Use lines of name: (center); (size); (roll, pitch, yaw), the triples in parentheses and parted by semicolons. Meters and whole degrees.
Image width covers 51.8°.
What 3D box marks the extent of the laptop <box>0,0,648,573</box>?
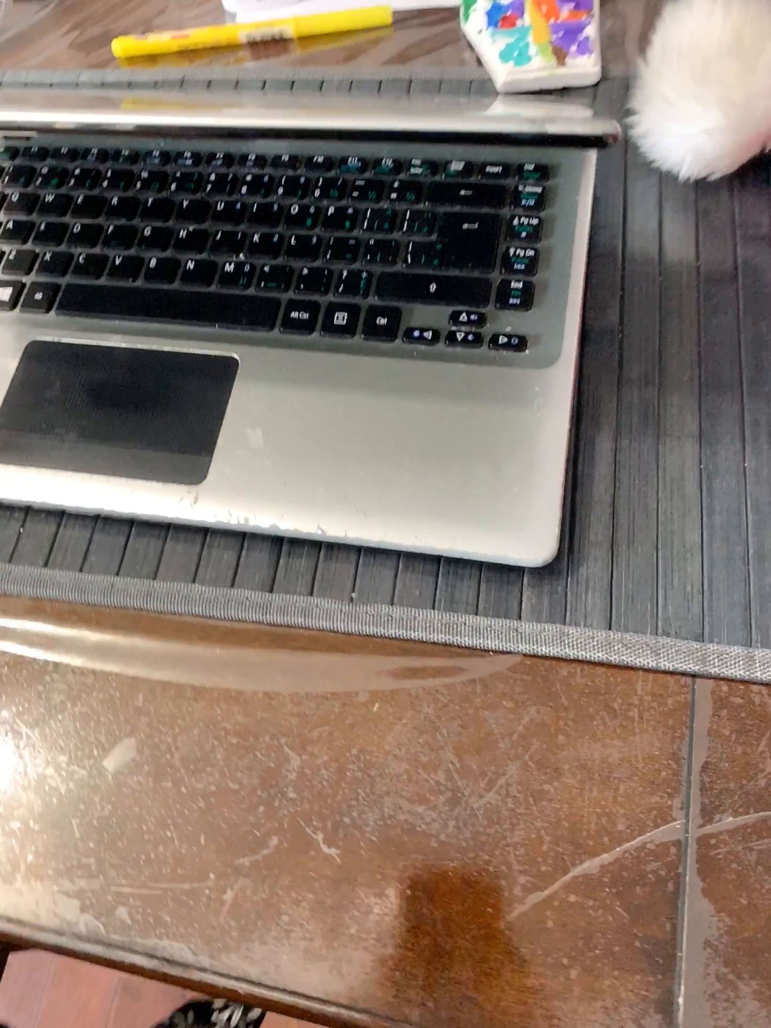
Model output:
laptop: (-0.092, -0.135, 0.315); (0.344, 0.145, 0.236); (7, 66, 10)
